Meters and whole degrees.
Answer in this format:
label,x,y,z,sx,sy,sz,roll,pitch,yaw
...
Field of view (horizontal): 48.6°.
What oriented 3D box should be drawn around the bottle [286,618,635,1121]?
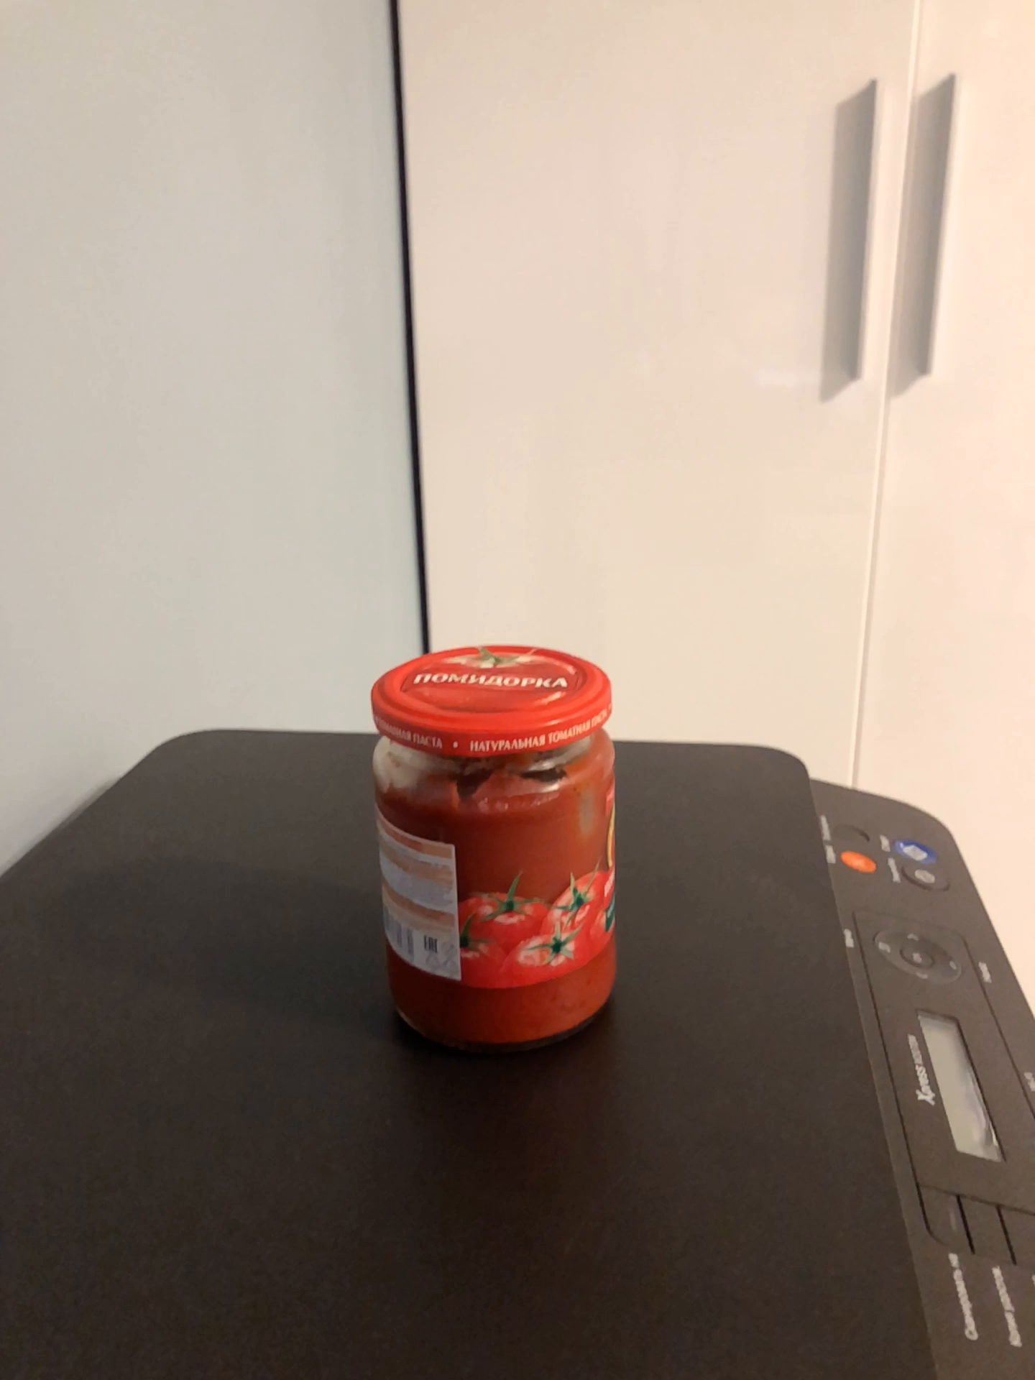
label,x,y,z,sx,sy,sz,roll,pitch,yaw
bottle,-0.011,0.046,0.332,0.070,0.109,0.080,6,20,19
